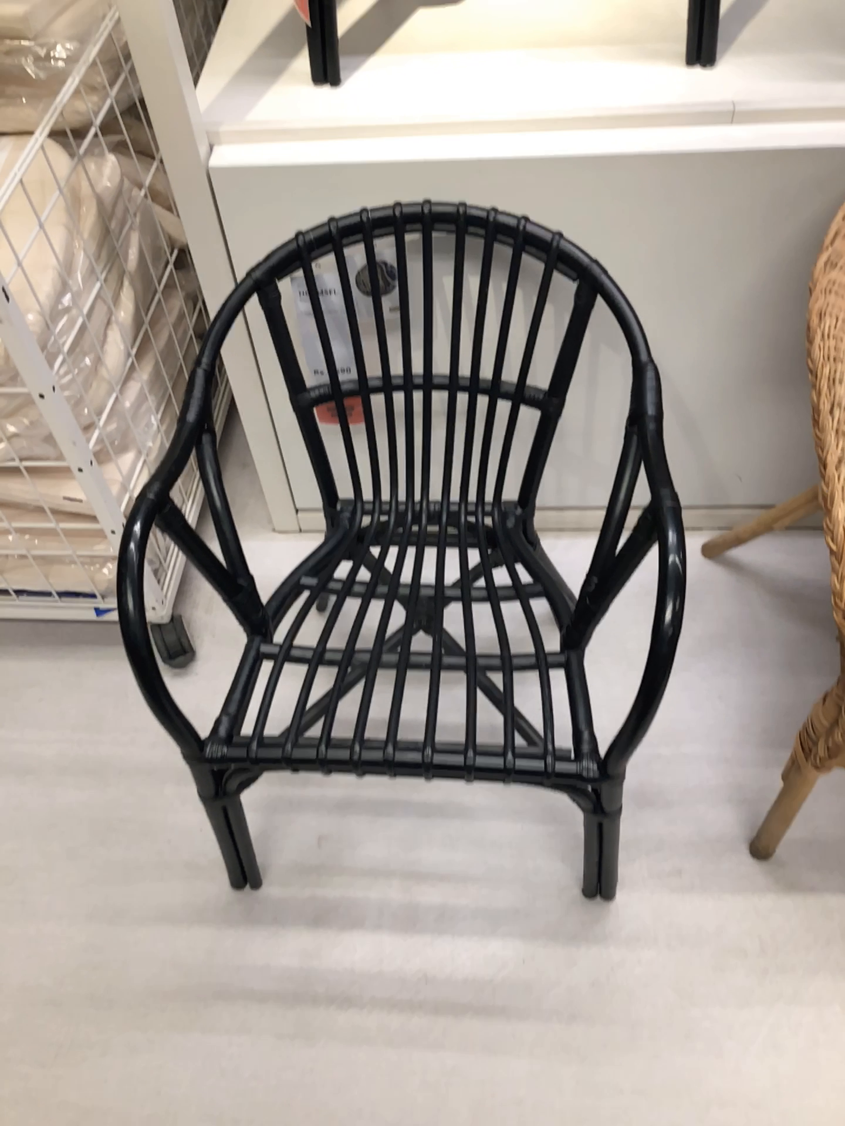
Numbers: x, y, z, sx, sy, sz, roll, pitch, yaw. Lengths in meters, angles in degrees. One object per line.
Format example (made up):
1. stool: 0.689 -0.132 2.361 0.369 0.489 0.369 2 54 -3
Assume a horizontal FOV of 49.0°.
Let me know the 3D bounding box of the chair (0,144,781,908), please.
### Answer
1. chair: -0.011 0.019 1.049 0.550 0.756 0.473 1 53 5
